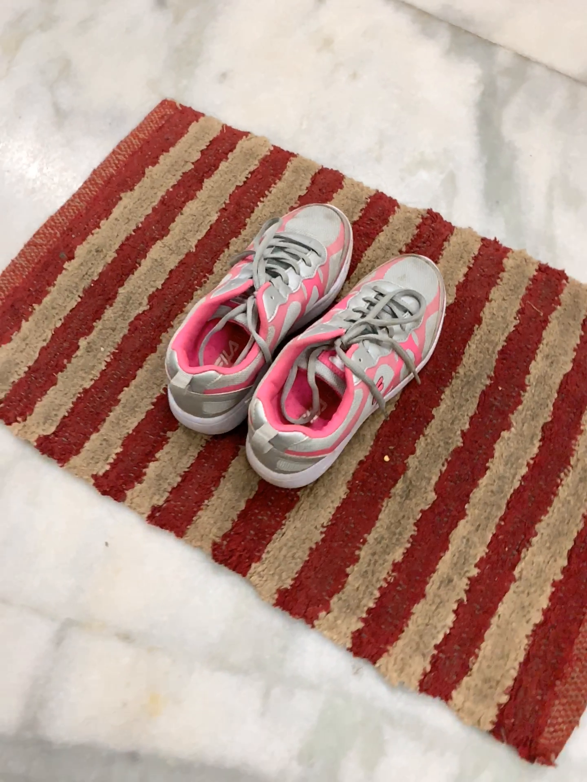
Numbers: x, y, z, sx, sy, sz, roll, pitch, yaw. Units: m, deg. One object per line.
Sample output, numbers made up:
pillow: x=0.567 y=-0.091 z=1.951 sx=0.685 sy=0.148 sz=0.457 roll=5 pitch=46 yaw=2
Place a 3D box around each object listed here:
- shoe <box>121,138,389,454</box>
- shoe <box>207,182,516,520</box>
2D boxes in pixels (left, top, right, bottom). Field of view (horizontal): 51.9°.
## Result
shoe: x=-0.022 y=-0.079 z=0.501 sx=0.090 sy=0.100 sz=0.230 roll=30 pitch=71 yaw=12
shoe: x=0.054 y=-0.031 z=0.468 sx=0.100 sy=0.100 sz=0.230 roll=36 pitch=73 yaw=14
